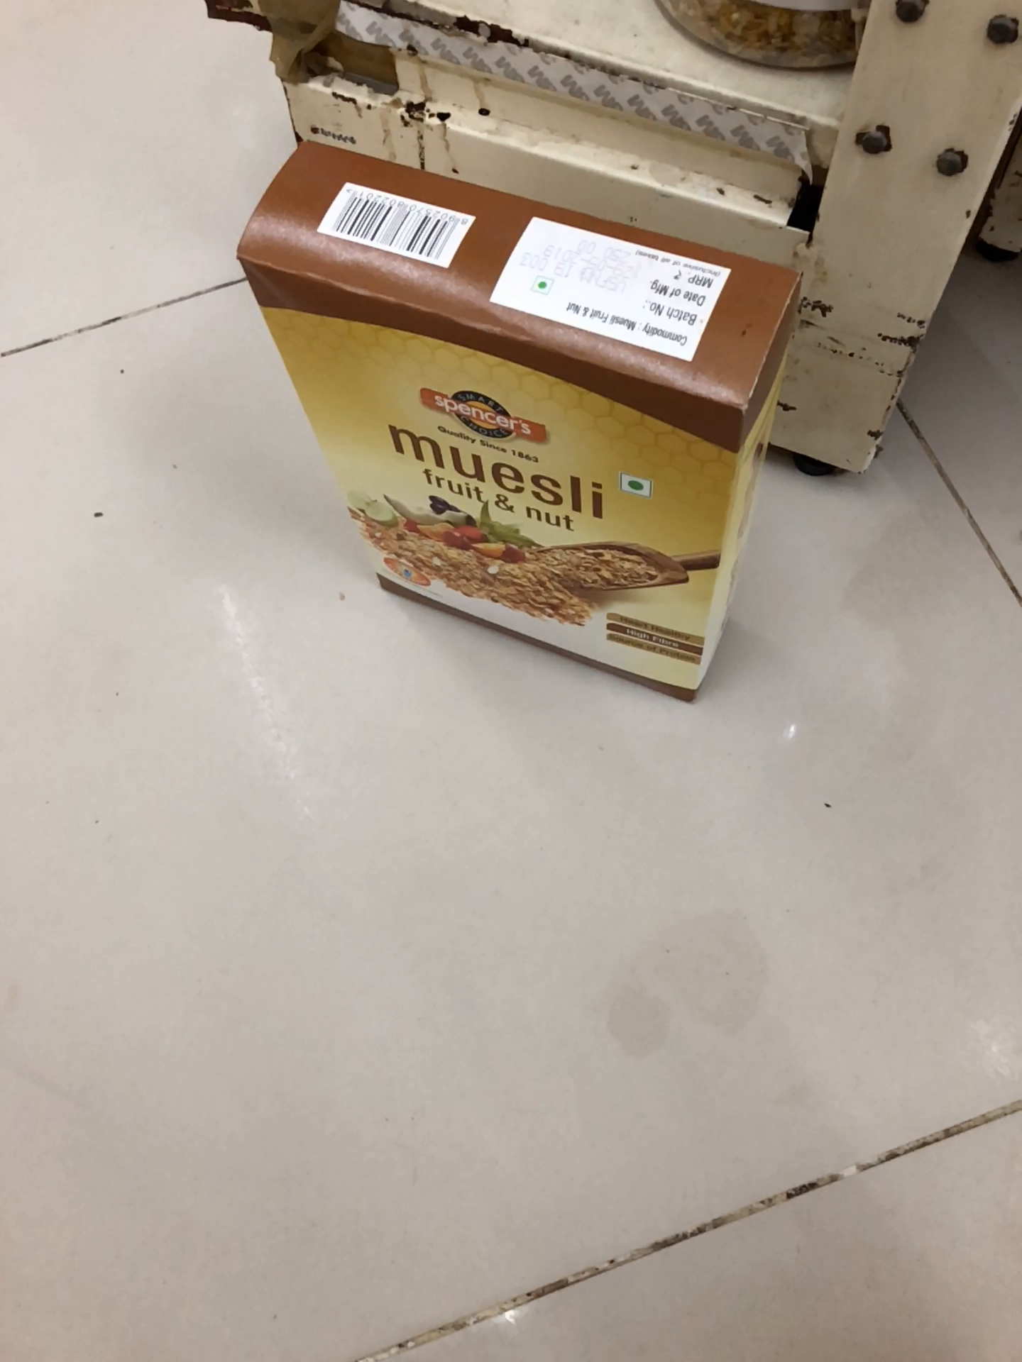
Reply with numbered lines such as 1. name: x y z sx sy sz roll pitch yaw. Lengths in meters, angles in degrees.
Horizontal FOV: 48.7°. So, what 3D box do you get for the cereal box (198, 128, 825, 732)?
1. cereal box: 0.006 -0.083 0.464 0.190 0.239 0.060 21 69 13
